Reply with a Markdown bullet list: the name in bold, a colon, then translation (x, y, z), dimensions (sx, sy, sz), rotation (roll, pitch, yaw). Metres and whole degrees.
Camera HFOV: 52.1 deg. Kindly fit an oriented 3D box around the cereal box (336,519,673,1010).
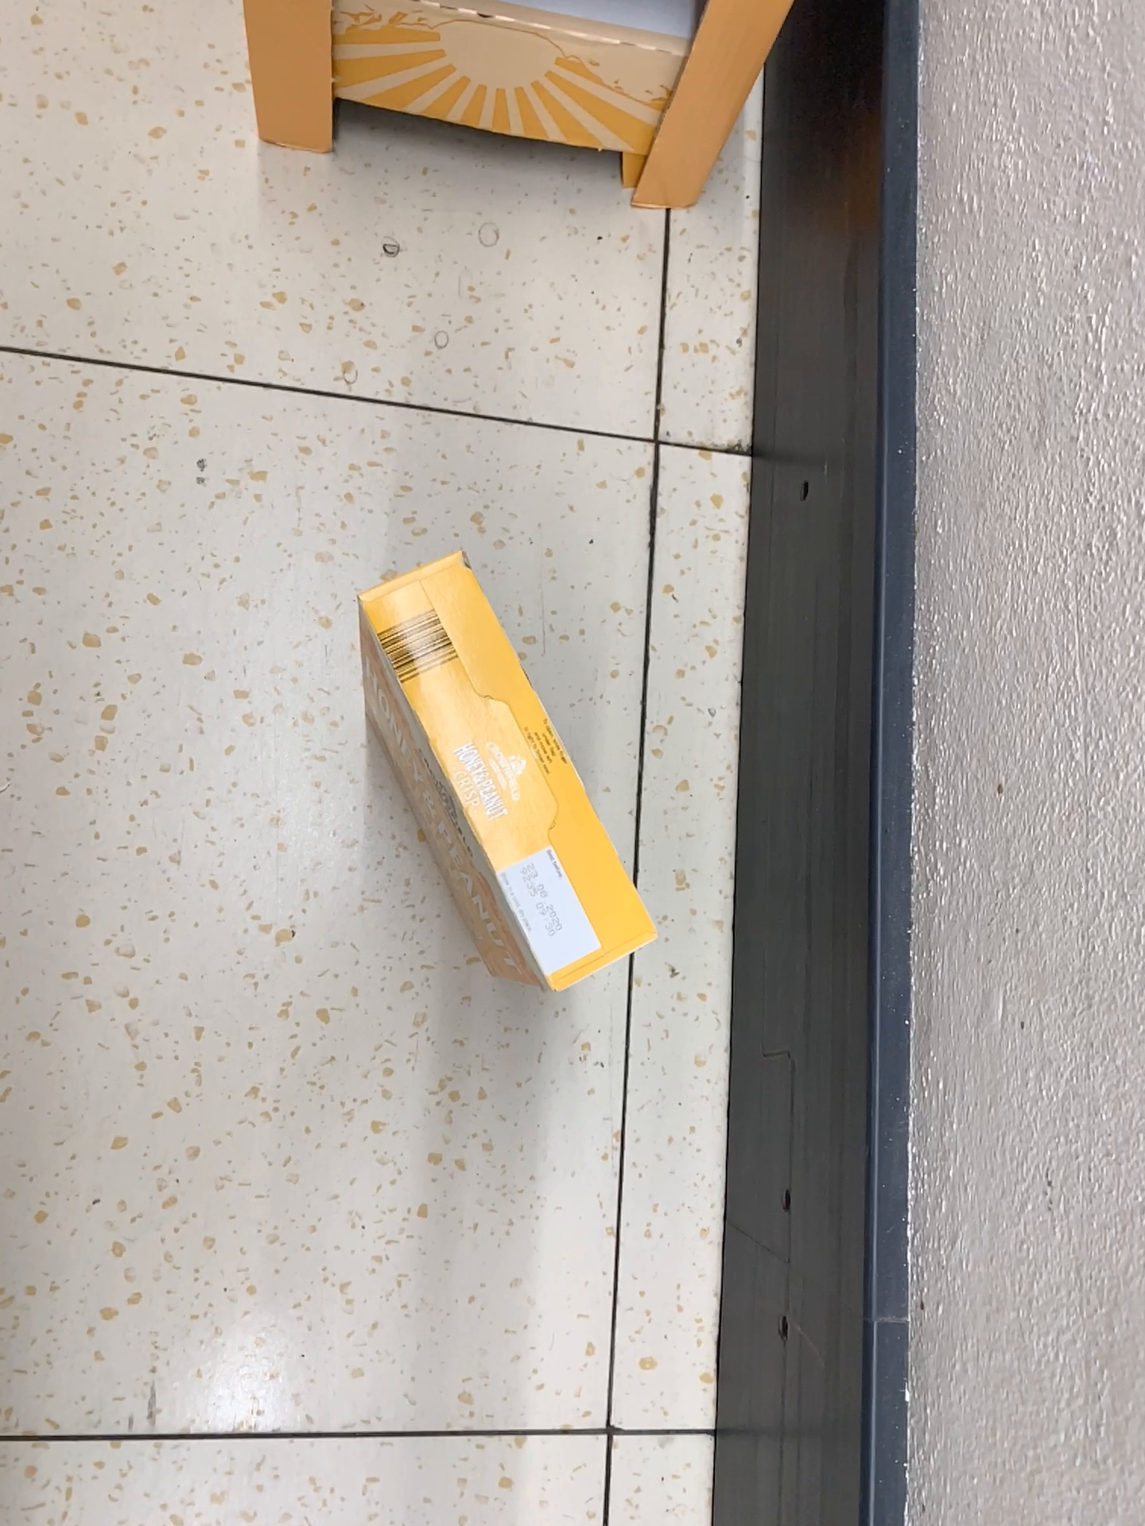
- **cereal box**: translation (-0.048, 0.017, 0.585), dimensions (0.050, 0.270, 0.190), rotation (-27, 87, -12)
